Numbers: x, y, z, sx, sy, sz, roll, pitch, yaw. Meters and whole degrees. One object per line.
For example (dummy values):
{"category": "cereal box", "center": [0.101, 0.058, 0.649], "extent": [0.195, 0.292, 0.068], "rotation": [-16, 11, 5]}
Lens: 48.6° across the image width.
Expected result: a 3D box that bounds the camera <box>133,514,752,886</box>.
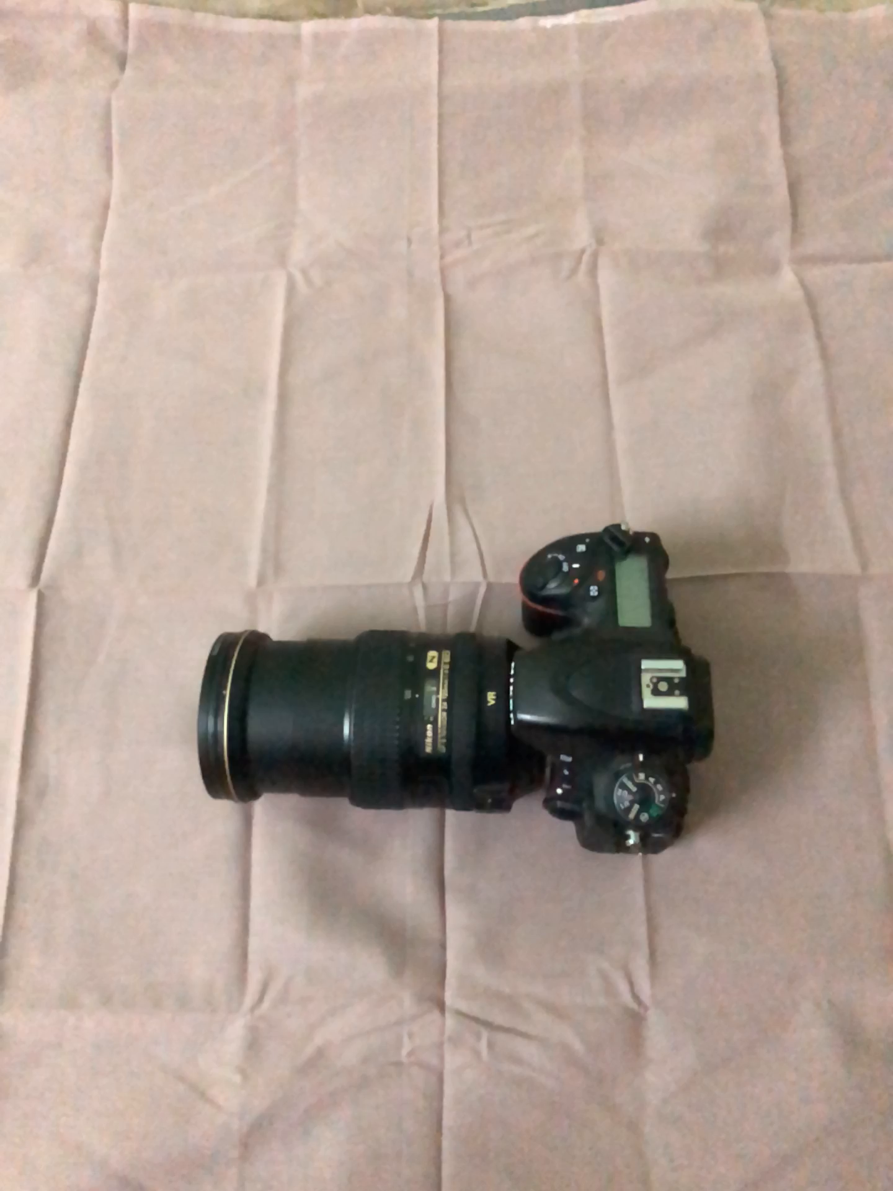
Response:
{"category": "camera", "center": [0.001, 0.051, 0.446], "extent": [0.231, 0.110, 0.139], "rotation": [1, 68, 2]}
